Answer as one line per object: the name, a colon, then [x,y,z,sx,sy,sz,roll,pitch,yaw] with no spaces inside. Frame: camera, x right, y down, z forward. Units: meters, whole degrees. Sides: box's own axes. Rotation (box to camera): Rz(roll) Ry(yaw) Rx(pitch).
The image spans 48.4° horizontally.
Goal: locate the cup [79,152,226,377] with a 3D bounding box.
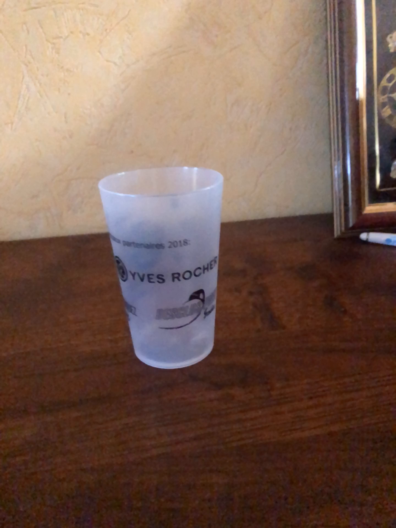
cup: [-0.019,-0.001,0.274,0.070,0.119,0.070,-2,25,1]
